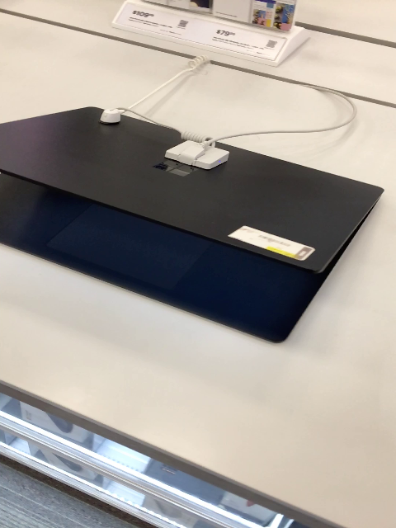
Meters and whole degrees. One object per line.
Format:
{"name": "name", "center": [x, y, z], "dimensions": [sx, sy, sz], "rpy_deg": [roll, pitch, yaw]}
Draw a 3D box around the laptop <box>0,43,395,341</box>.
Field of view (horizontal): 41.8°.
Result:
{"name": "laptop", "center": [-0.030, -0.080, 0.456], "dimensions": [0.321, 0.086, 0.208], "rpy_deg": [22, 54, 15]}
